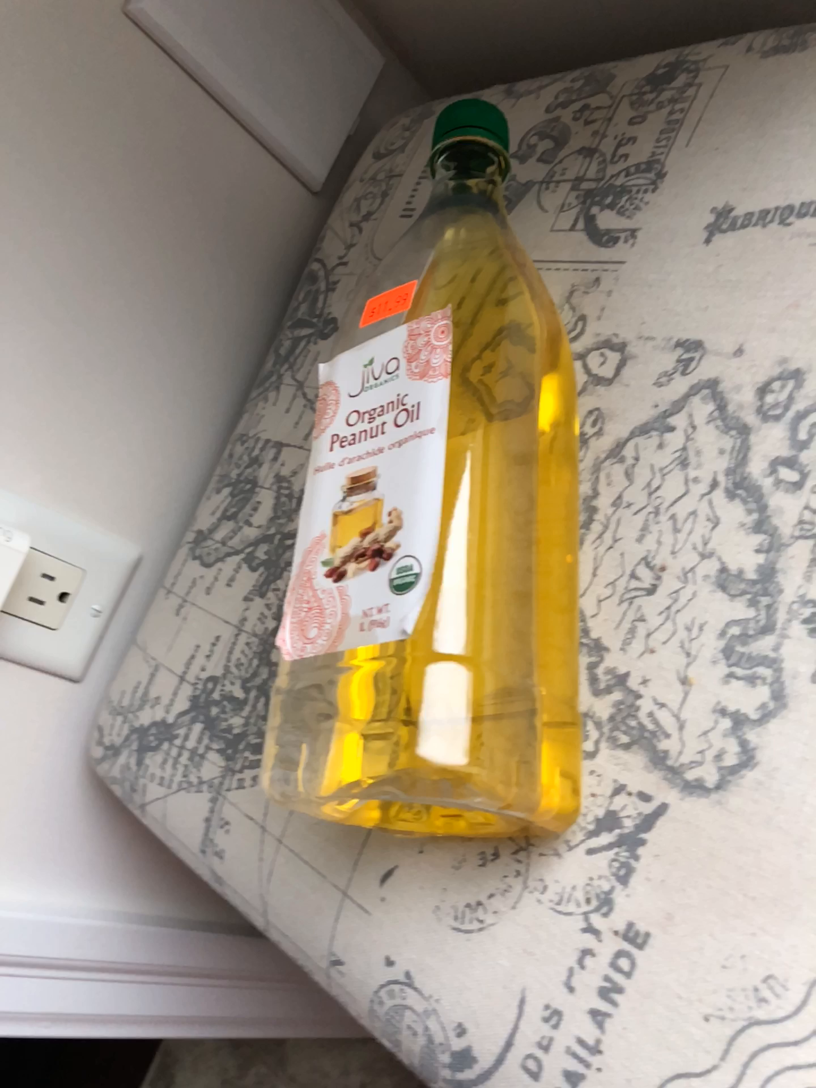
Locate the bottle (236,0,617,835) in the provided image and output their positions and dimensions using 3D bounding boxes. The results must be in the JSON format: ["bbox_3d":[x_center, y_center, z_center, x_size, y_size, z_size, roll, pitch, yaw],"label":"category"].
[{"bbox_3d":[0.014,-0.047,0.305,0.080,0.070,0.270,-14,61,36],"label":"bottle"}]
